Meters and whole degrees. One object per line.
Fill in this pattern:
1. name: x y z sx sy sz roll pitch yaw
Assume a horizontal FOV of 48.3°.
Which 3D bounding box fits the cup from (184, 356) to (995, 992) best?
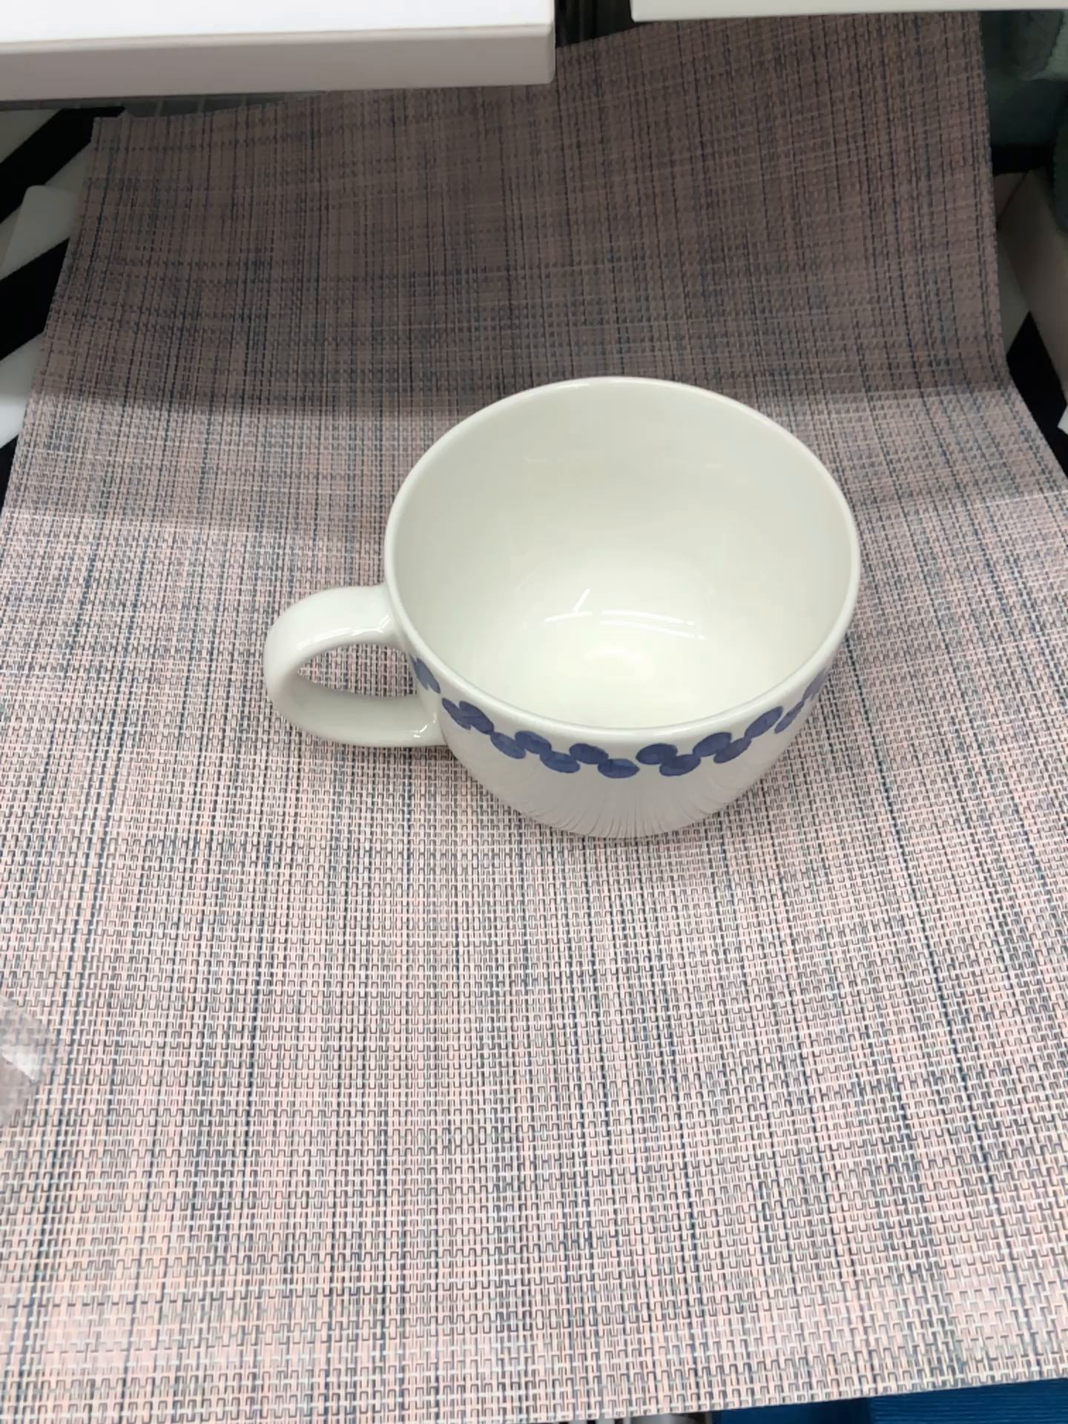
1. cup: 0.004 -0.012 0.272 0.150 0.060 0.110 -9 56 -4
